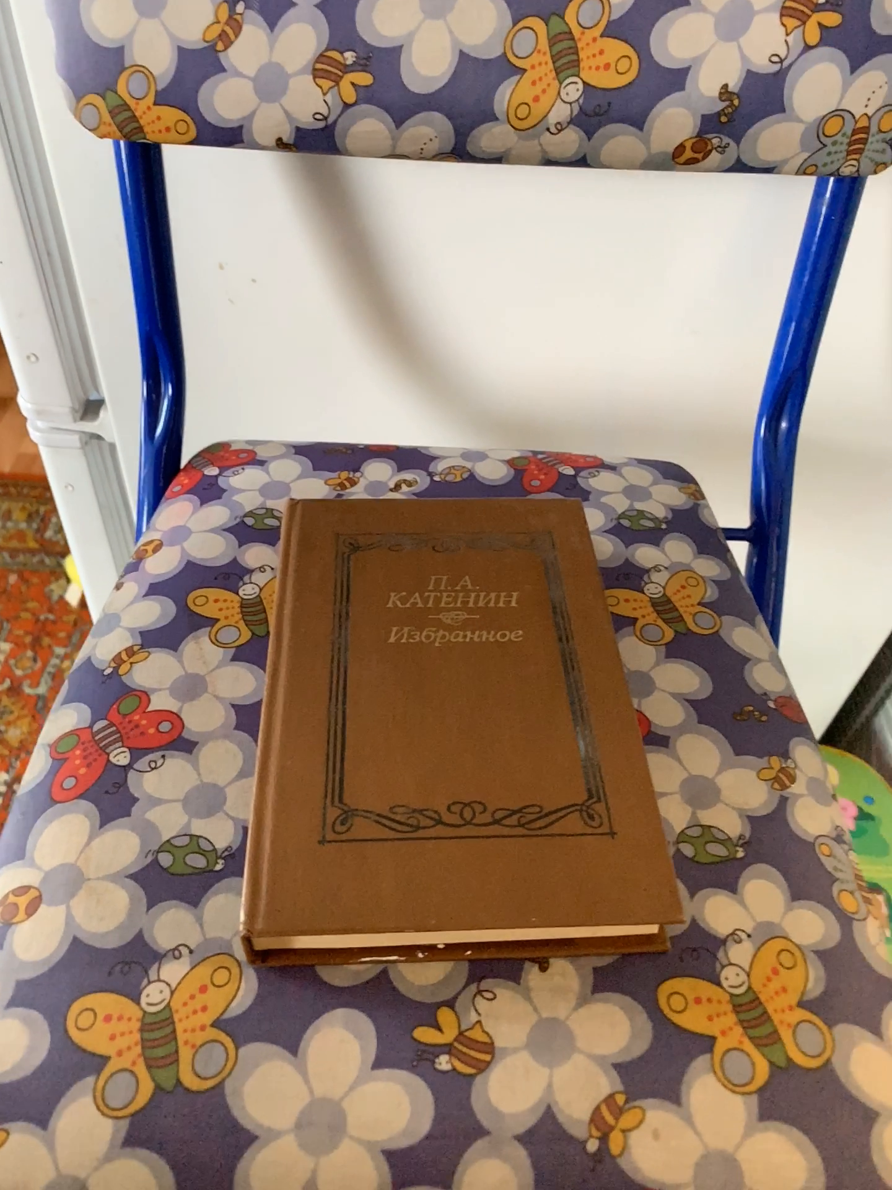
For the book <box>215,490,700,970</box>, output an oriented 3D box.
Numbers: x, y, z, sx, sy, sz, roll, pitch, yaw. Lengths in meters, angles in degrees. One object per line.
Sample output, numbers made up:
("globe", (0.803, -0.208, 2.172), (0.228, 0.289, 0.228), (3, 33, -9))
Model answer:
("book", (-0.002, 0.029, 0.300), (0.124, 0.020, 0.172), (-1, 46, -5))
